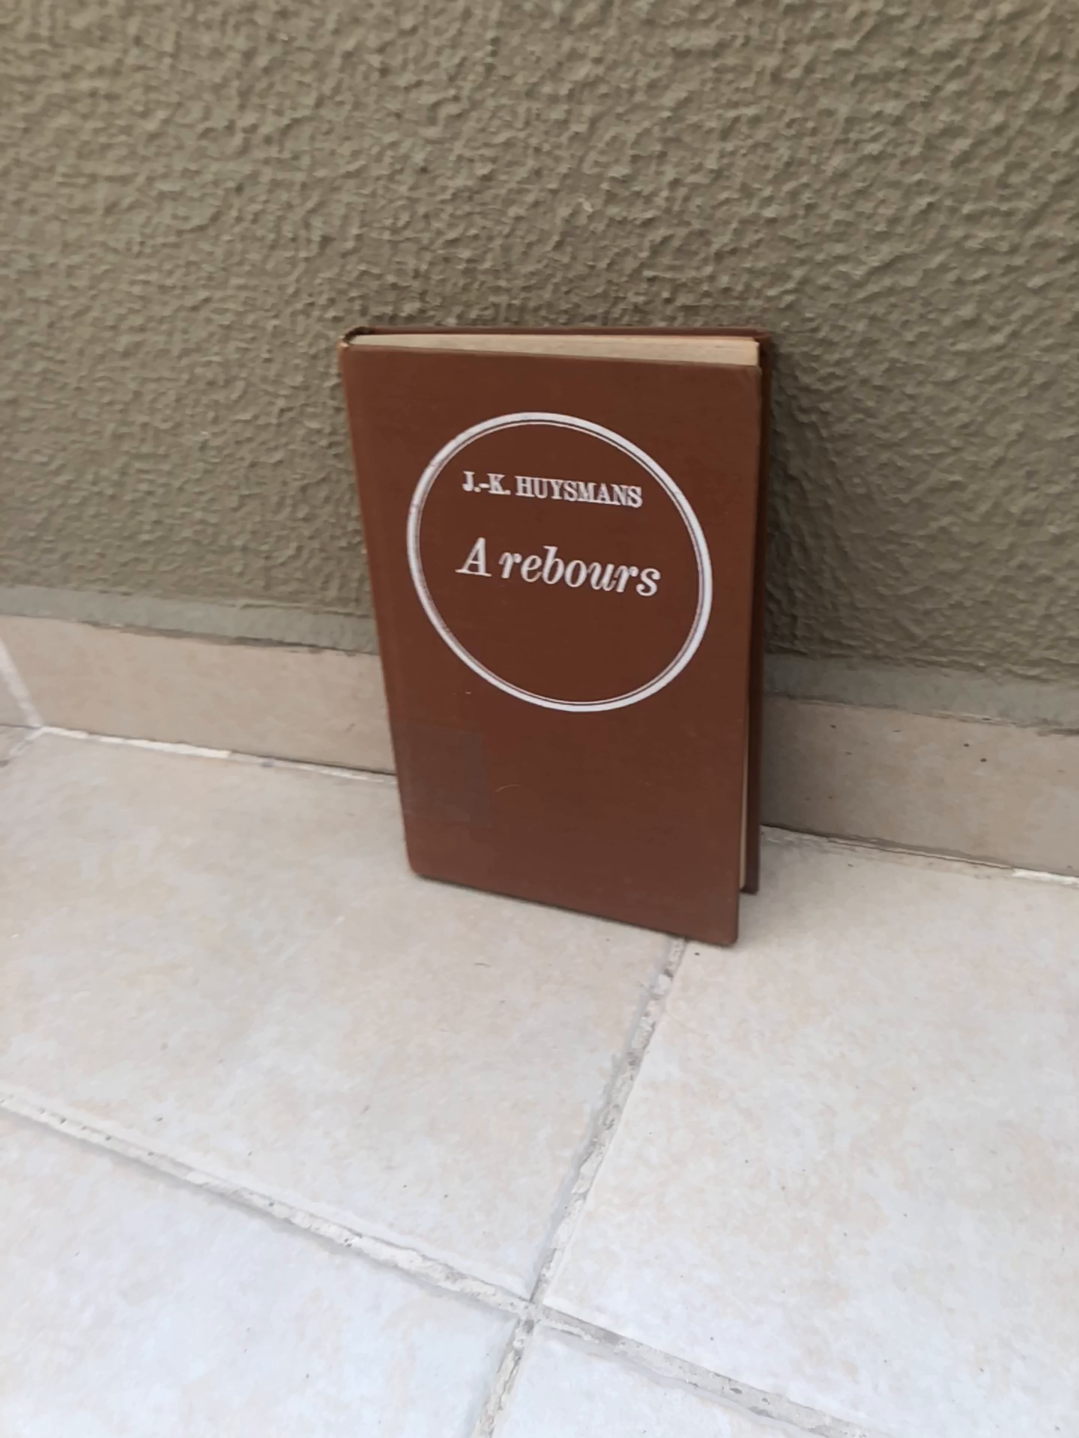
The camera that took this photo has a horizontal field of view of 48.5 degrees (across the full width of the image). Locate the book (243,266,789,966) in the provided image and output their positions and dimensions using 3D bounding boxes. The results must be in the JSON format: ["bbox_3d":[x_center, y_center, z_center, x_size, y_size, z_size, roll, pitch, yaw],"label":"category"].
[{"bbox_3d":[-0.003,-0.032,0.384,0.150,0.209,0.040,9,31,23],"label":"book"}]
